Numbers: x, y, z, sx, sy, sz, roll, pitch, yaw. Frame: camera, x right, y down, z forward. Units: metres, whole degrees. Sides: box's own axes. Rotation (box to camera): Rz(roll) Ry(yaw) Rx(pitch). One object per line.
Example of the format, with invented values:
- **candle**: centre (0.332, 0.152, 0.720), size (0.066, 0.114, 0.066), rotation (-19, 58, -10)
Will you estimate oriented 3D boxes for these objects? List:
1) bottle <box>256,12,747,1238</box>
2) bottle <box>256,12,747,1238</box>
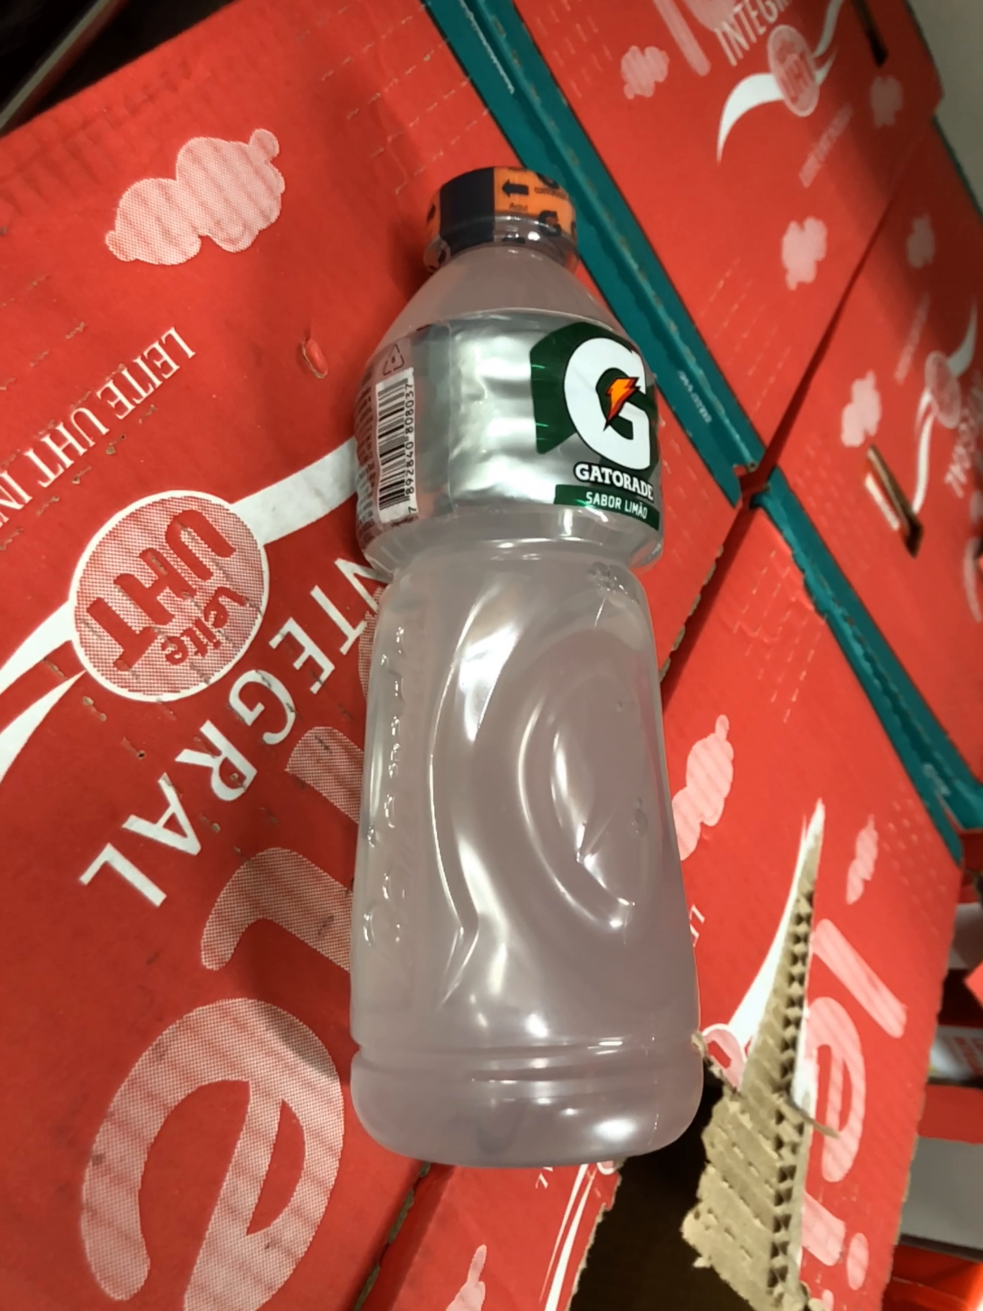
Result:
- **bottle**: centre (-0.002, -0.008, 0.227), size (0.070, 0.060, 0.210), rotation (10, 72, -45)
- **bottle**: centre (-0.002, -0.008, 0.227), size (0.070, 0.060, 0.210), rotation (10, 72, -45)
